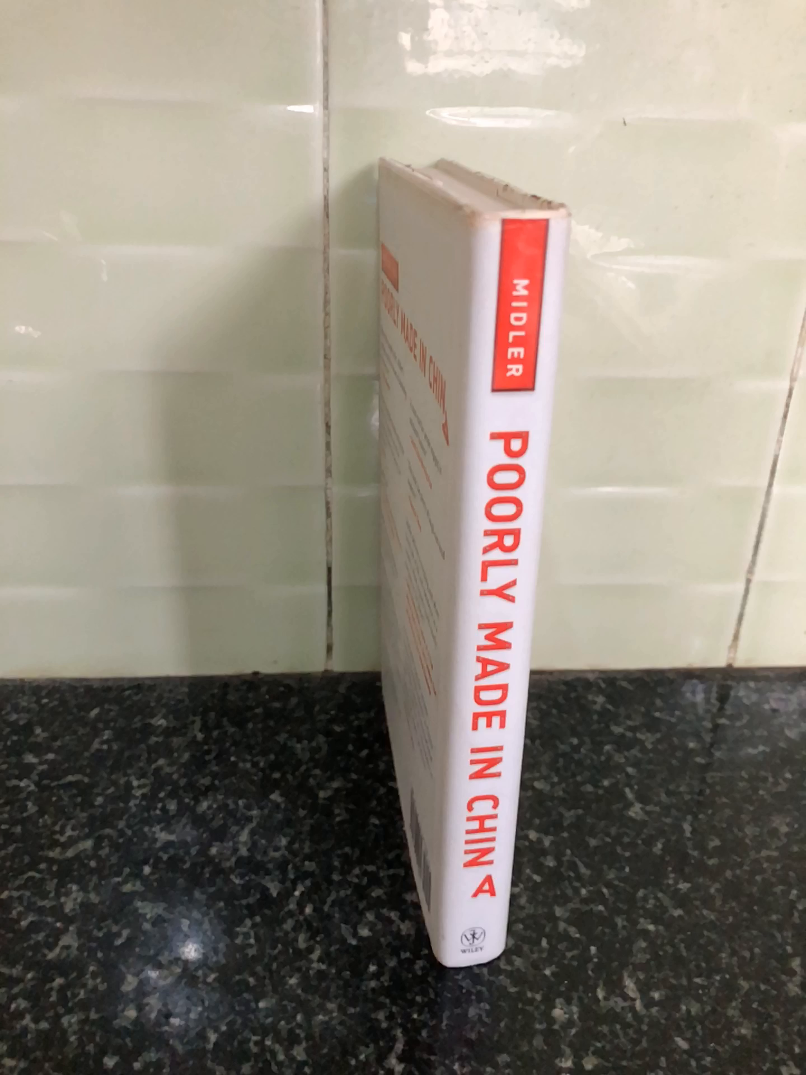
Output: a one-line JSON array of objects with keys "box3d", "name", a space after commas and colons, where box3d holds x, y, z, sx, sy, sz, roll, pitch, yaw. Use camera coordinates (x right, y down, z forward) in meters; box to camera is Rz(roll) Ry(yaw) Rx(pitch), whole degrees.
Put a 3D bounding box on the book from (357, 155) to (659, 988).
[{"box3d": [0.014, -0.006, 0.310, 0.040, 0.219, 0.191, -2, 26, -8], "name": "book"}]
